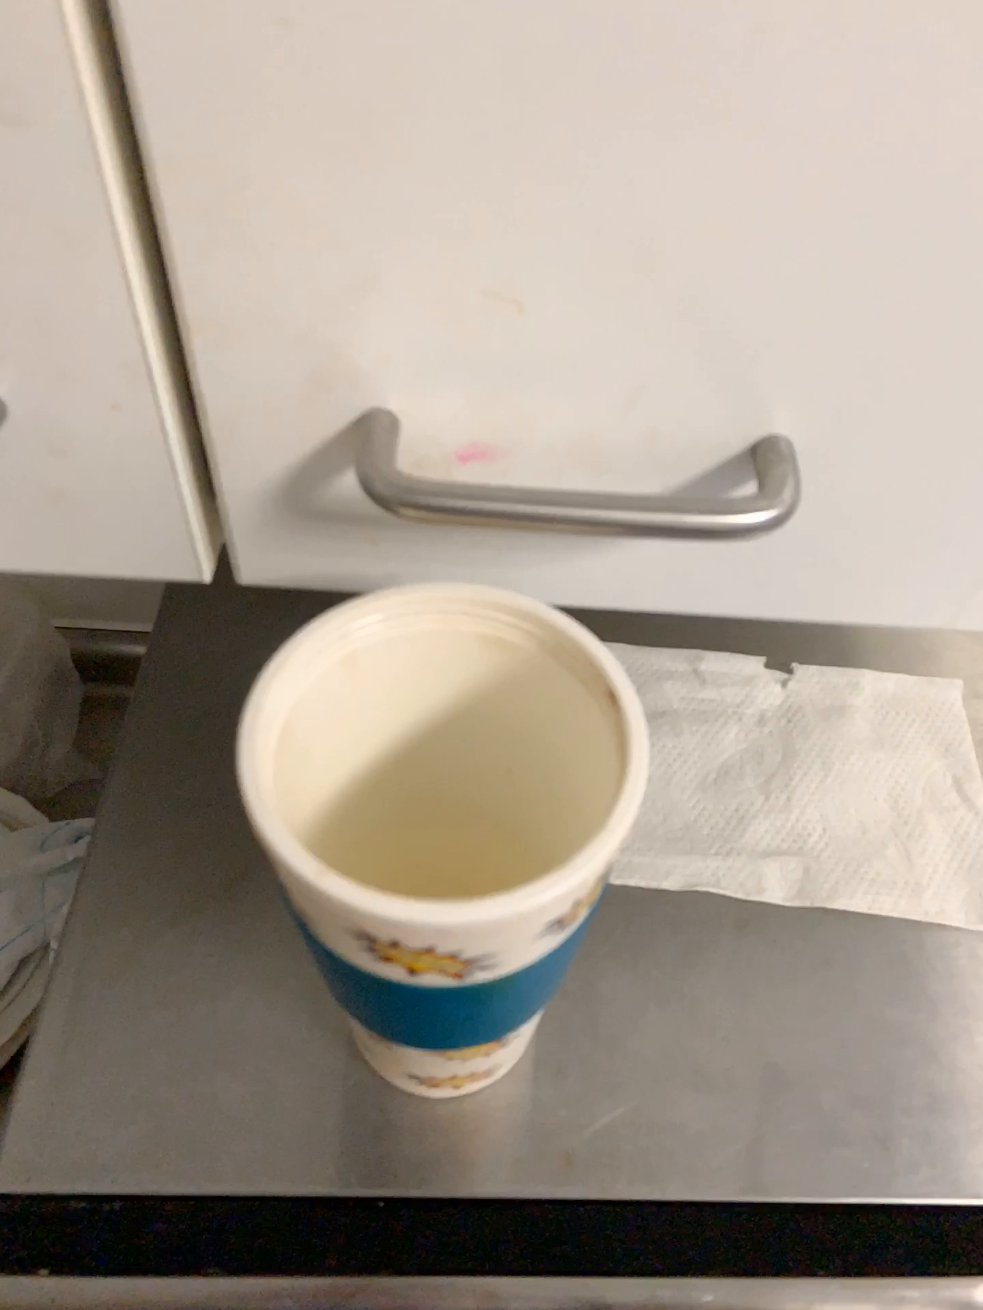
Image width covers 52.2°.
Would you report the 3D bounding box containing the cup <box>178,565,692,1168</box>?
[{"bbox_3d":[-0.013,0.063,0.268,0.093,0.146,0.097,1,49,-2],"label":"cup"}]
